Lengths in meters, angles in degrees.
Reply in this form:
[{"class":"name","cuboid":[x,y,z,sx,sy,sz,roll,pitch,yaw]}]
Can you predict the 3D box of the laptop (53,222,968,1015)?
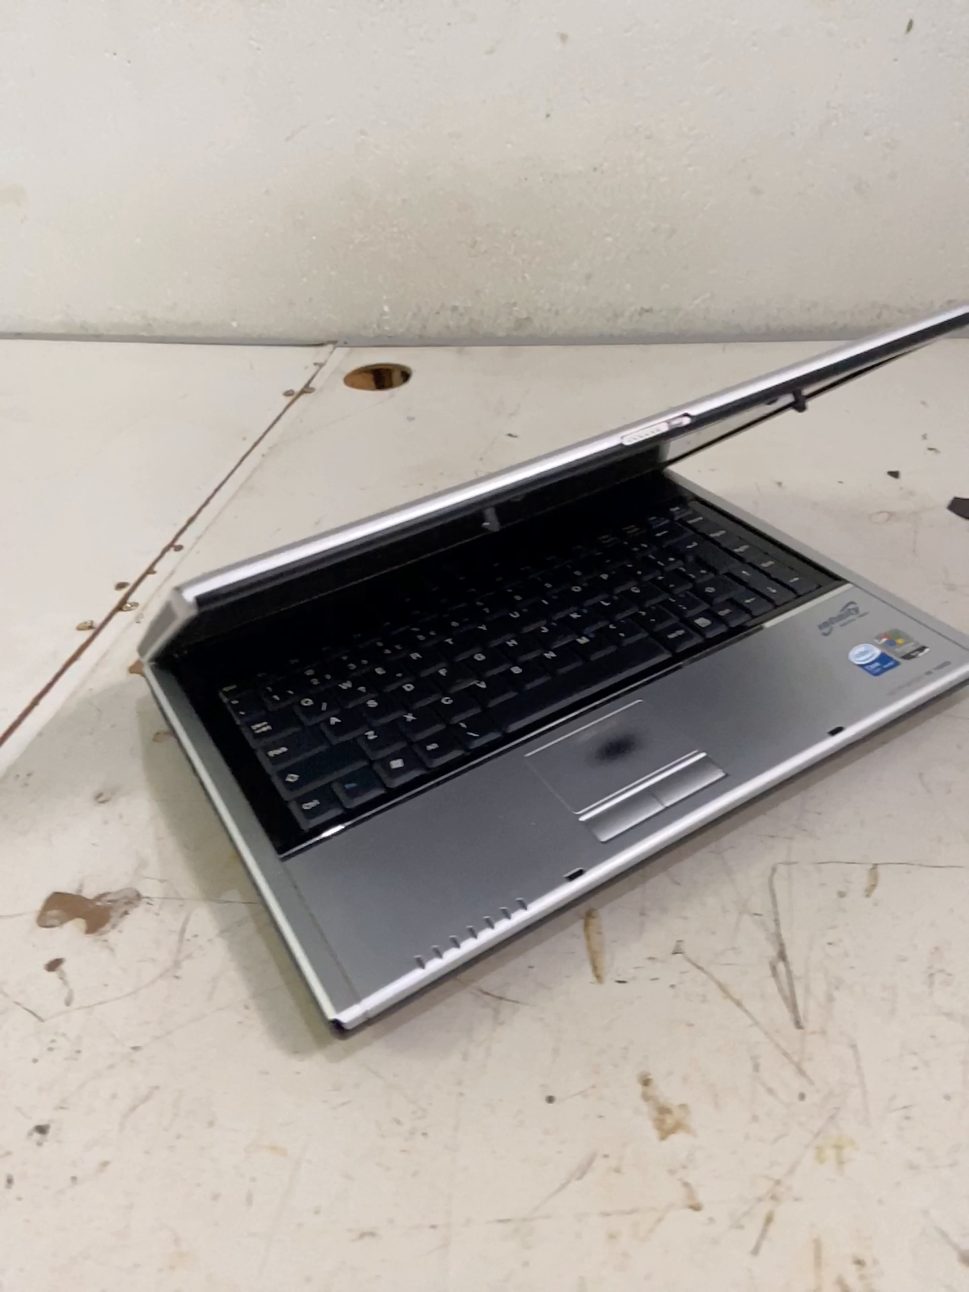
[{"class":"laptop","cuboid":[0.026,-0.050,0.422,0.320,0.144,0.227,-23,40,-22]}]
